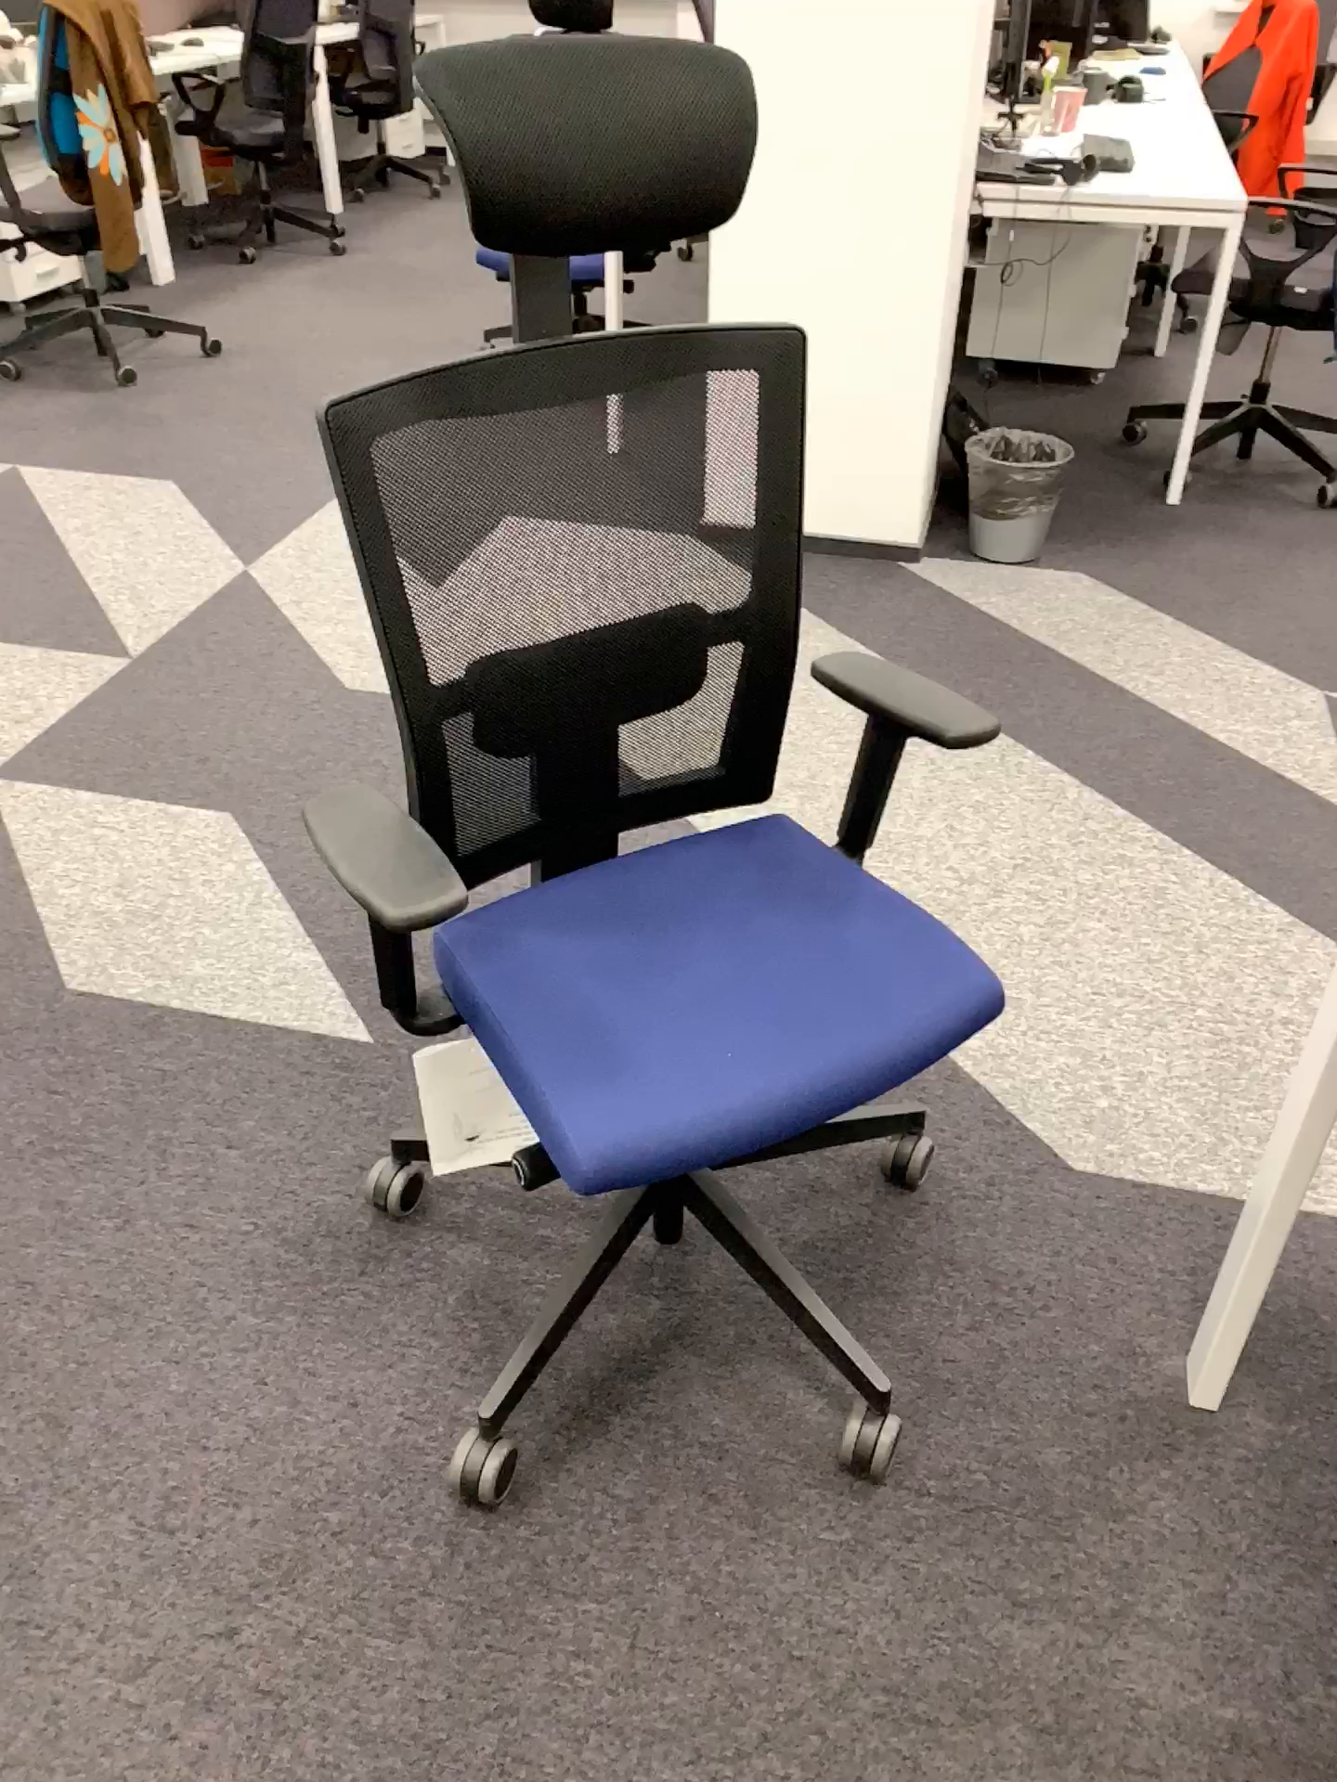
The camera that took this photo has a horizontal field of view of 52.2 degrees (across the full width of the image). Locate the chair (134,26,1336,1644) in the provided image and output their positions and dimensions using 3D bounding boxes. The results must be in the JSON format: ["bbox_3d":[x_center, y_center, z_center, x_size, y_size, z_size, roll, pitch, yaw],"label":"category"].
[{"bbox_3d":[0.046,-0.057,1.298,0.731,1.243,0.673,-14,38,-19],"label":"chair"}]
